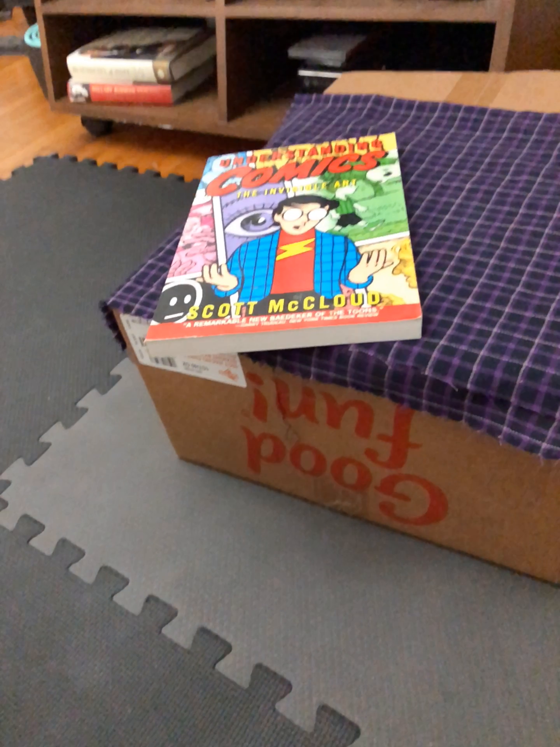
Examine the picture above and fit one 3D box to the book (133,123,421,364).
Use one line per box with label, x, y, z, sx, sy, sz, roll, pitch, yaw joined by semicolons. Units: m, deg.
book;0.006;-0.112;0.463;0.170;0.020;0.272;-4;43;9
